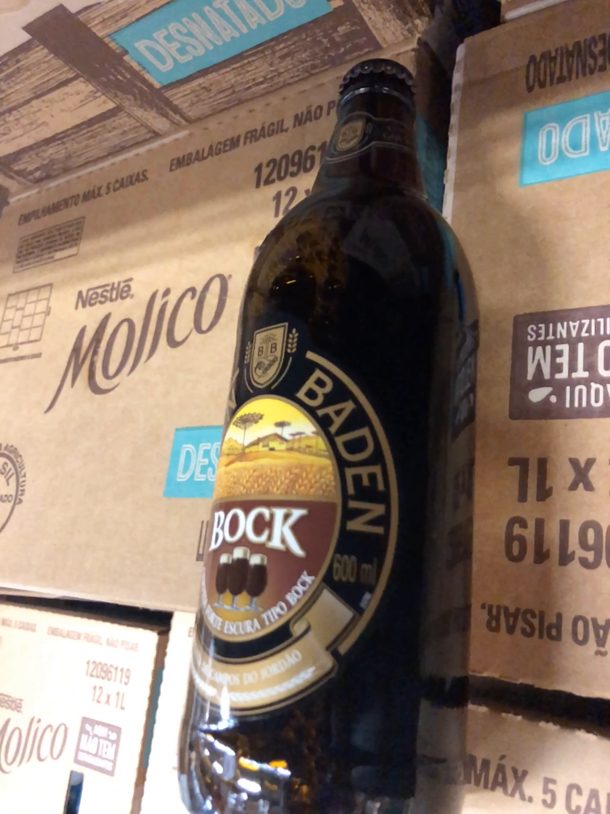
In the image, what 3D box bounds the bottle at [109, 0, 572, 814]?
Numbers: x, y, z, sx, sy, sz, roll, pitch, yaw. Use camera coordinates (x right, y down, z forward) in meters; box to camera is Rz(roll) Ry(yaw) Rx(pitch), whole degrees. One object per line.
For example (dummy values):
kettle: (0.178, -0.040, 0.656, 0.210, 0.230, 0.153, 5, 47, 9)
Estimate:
bottle: (0.021, -0.002, 0.184, 0.080, 0.070, 0.230, -5, 71, 34)
